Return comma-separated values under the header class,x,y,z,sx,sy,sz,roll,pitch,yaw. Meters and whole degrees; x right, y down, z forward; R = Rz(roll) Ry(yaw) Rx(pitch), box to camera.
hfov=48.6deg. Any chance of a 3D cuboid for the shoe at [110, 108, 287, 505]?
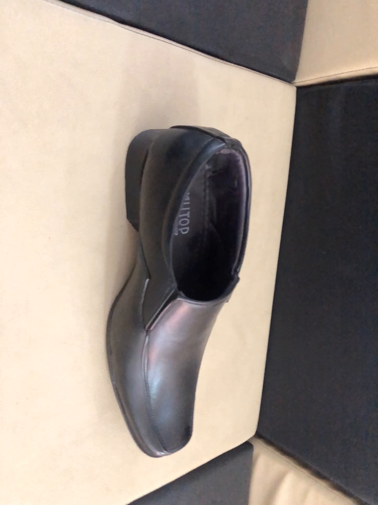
class,x,y,z,sx,sy,sz,roll,pitch,yaw
shoe,0.003,0.040,0.357,0.101,0.089,0.290,-5,103,-40
